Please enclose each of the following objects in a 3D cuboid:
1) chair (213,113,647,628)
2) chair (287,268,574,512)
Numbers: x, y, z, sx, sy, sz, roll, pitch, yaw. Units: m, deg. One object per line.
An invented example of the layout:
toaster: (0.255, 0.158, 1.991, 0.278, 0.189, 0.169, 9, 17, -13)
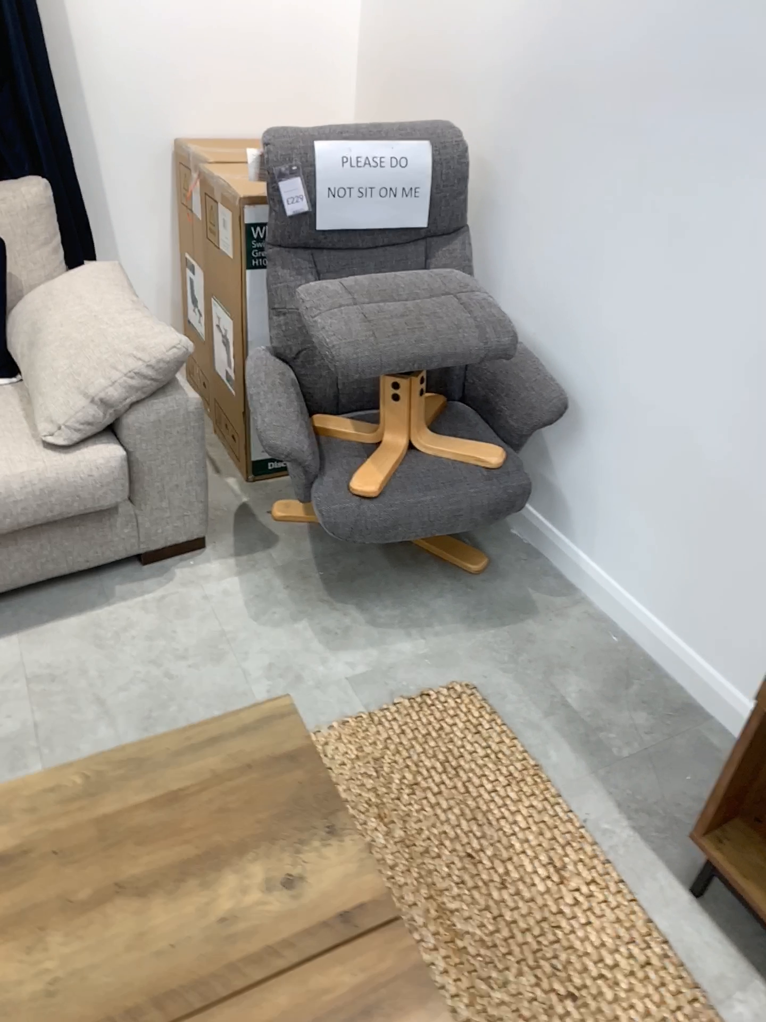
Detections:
chair: (0.020, -0.382, 1.950, 0.702, 0.975, 0.726, -9, 36, -21)
chair: (0.074, -0.310, 1.828, 0.482, 0.351, 0.484, -8, 36, -20)
